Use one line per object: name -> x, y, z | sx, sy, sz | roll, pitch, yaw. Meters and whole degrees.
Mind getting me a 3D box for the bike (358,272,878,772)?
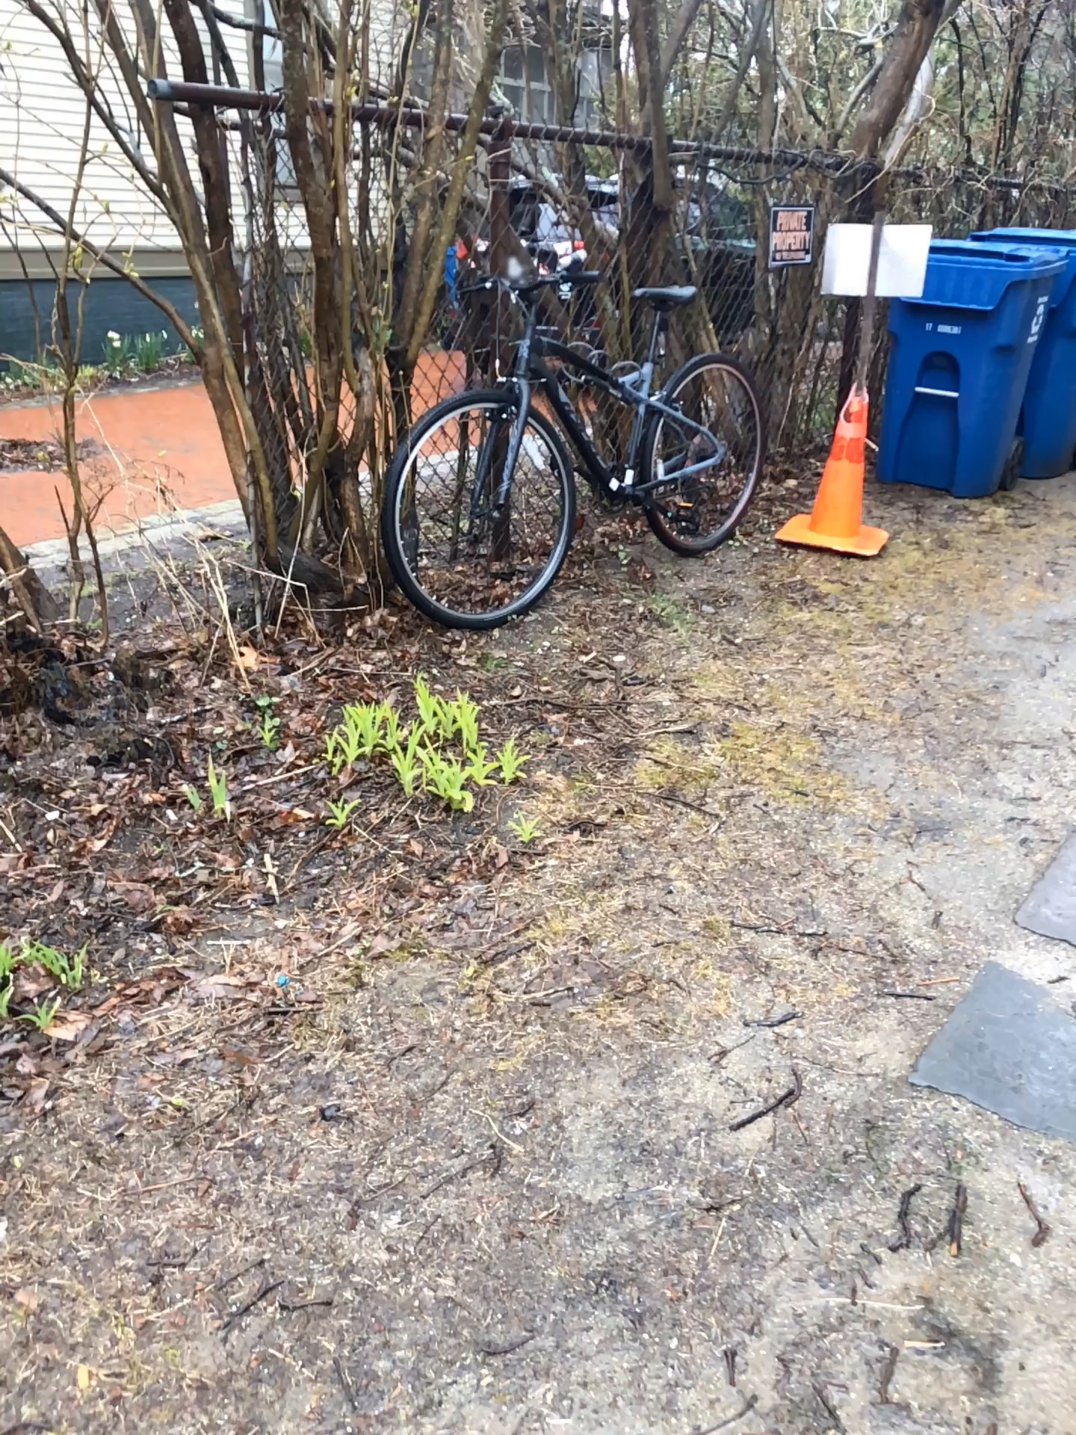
bike -> 0.335, -0.764, 3.839 | 0.537, 1.067, 1.892 | 20, 34, 40
